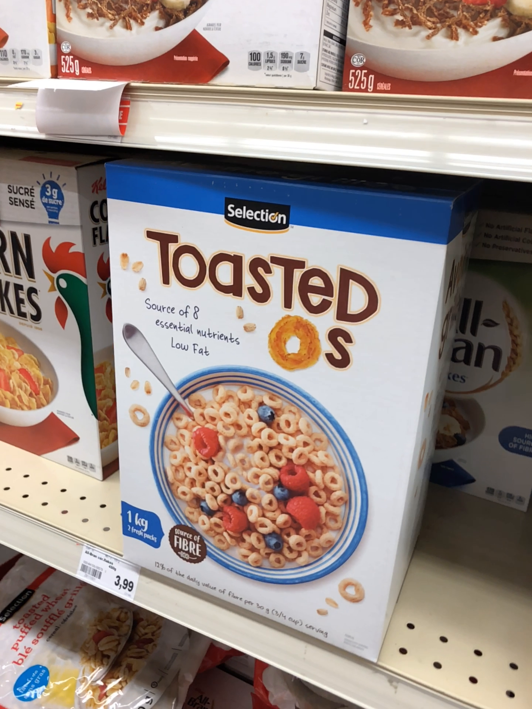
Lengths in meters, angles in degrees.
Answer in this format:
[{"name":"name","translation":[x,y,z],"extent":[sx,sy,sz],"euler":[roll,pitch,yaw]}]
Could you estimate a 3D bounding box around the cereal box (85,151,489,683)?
[{"name":"cereal box","translation":[0.013,0.026,0.470],"extent":[0.240,0.338,0.161],"euler":[12,22,22]}]
